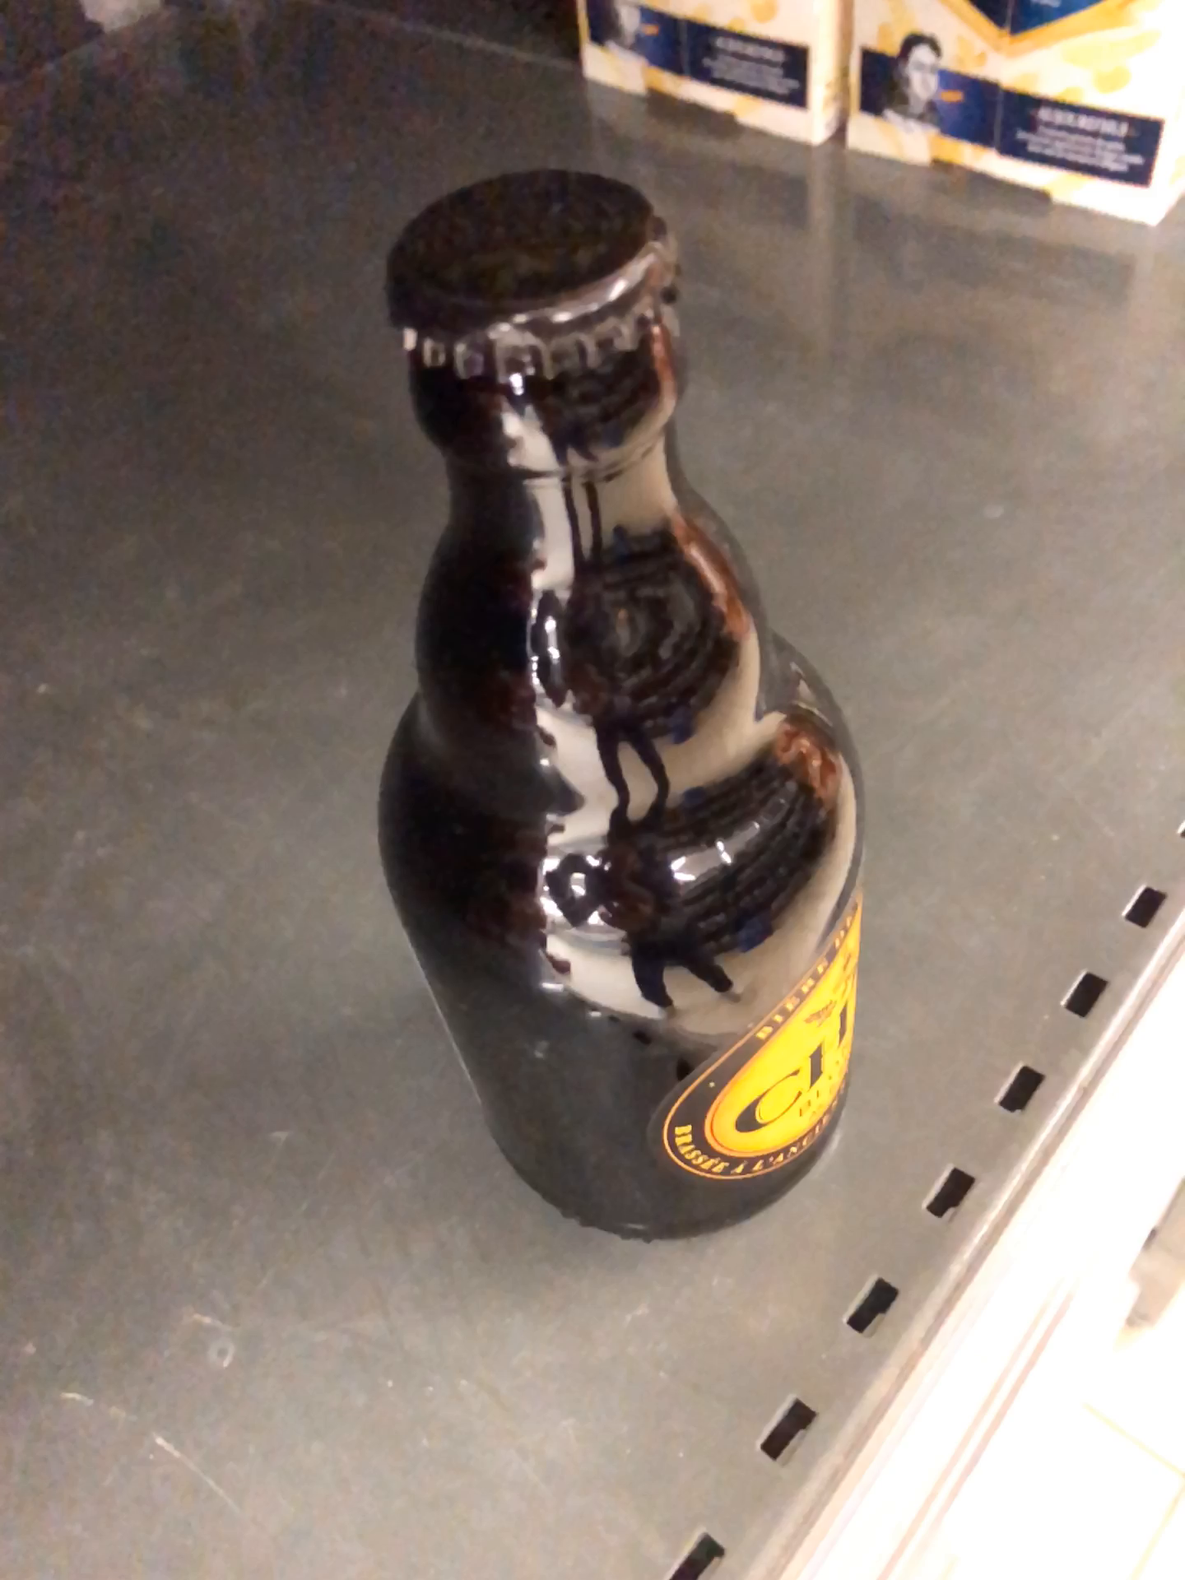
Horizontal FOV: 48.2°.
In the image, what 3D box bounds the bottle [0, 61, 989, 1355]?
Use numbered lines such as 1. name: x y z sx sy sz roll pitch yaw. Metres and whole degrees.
1. bottle: 0.001 0.005 0.186 0.070 0.169 0.070 -5 51 6
